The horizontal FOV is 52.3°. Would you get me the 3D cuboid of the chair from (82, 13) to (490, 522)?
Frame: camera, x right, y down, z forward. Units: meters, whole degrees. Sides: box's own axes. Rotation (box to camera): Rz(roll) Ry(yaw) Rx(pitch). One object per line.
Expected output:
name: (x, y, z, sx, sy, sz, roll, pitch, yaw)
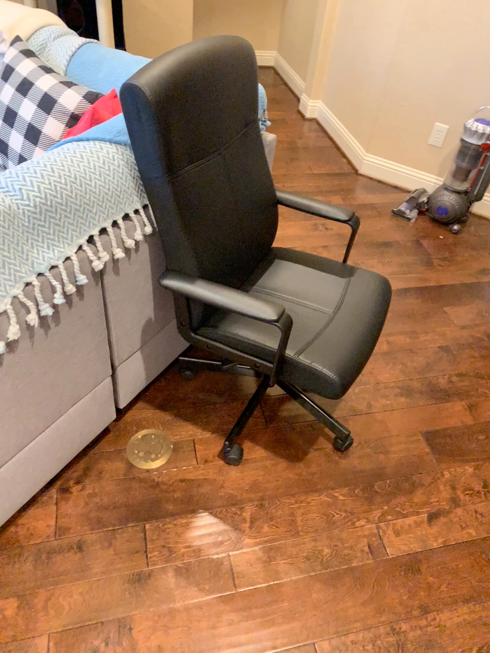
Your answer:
chair: (0.145, -0.173, 1.440, 0.760, 1.037, 0.737, 24, 46, 17)
